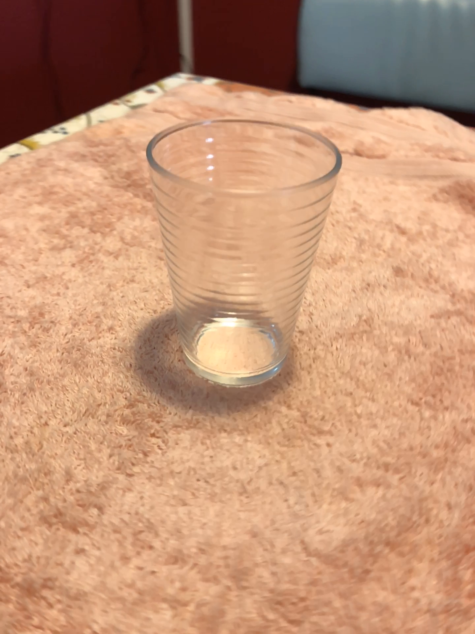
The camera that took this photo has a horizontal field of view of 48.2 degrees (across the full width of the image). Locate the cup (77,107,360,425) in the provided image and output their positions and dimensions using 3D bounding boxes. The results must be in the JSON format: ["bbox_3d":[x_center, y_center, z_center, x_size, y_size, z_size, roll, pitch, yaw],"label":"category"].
[{"bbox_3d":[-0.003,-0.025,0.222,0.080,0.089,0.081,1,38,-1],"label":"cup"}]
